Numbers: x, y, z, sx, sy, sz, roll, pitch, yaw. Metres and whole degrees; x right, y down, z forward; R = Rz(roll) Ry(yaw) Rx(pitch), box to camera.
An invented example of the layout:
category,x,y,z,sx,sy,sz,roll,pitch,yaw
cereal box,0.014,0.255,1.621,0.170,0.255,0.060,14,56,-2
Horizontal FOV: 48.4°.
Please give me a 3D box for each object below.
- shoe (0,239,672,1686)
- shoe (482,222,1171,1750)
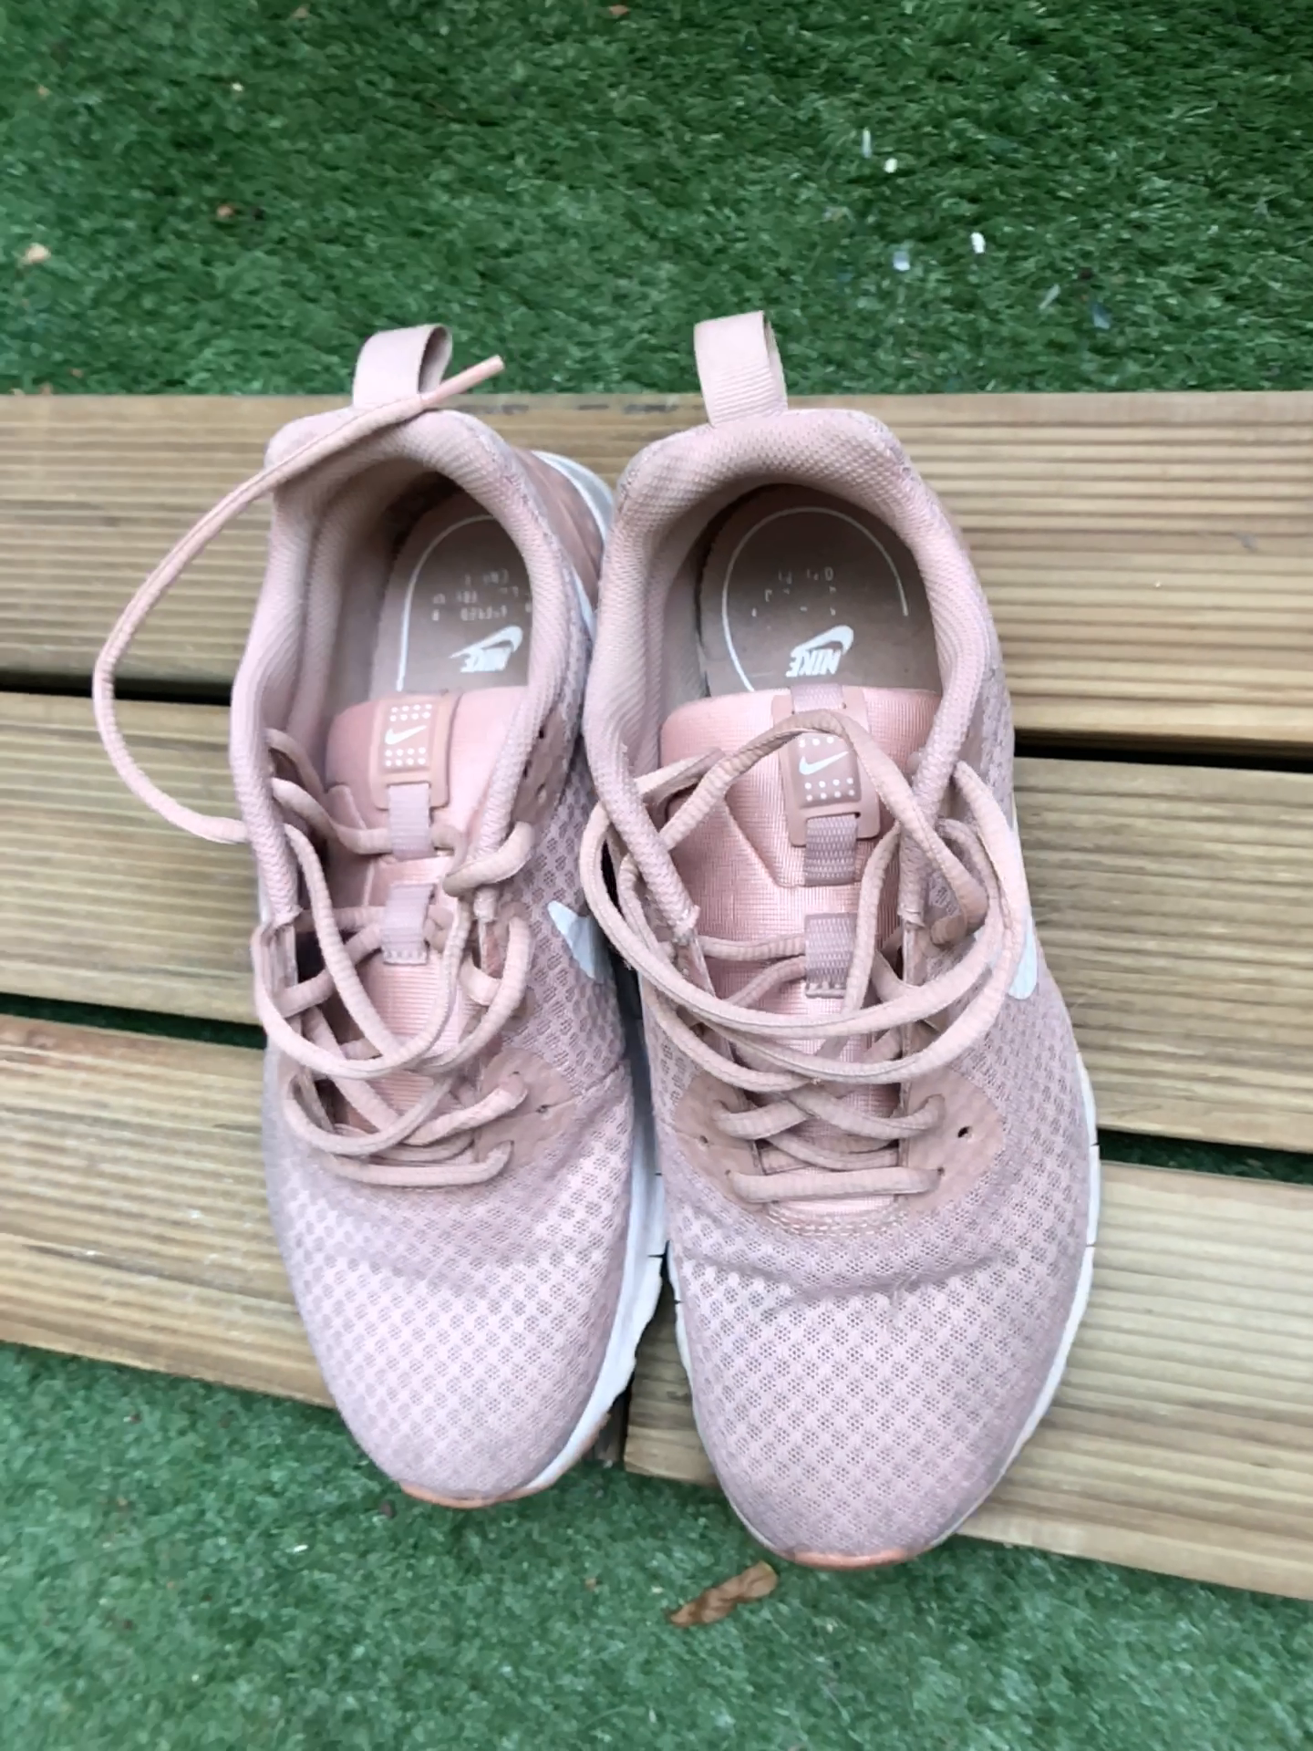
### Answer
category,x,y,z,sx,sy,sz,roll,pitch,yaw
shoe,-0.062,0.015,0.320,0.110,0.090,0.260,-2,82,16
shoe,0.034,0.021,0.300,0.110,0.090,0.260,-4,81,16
